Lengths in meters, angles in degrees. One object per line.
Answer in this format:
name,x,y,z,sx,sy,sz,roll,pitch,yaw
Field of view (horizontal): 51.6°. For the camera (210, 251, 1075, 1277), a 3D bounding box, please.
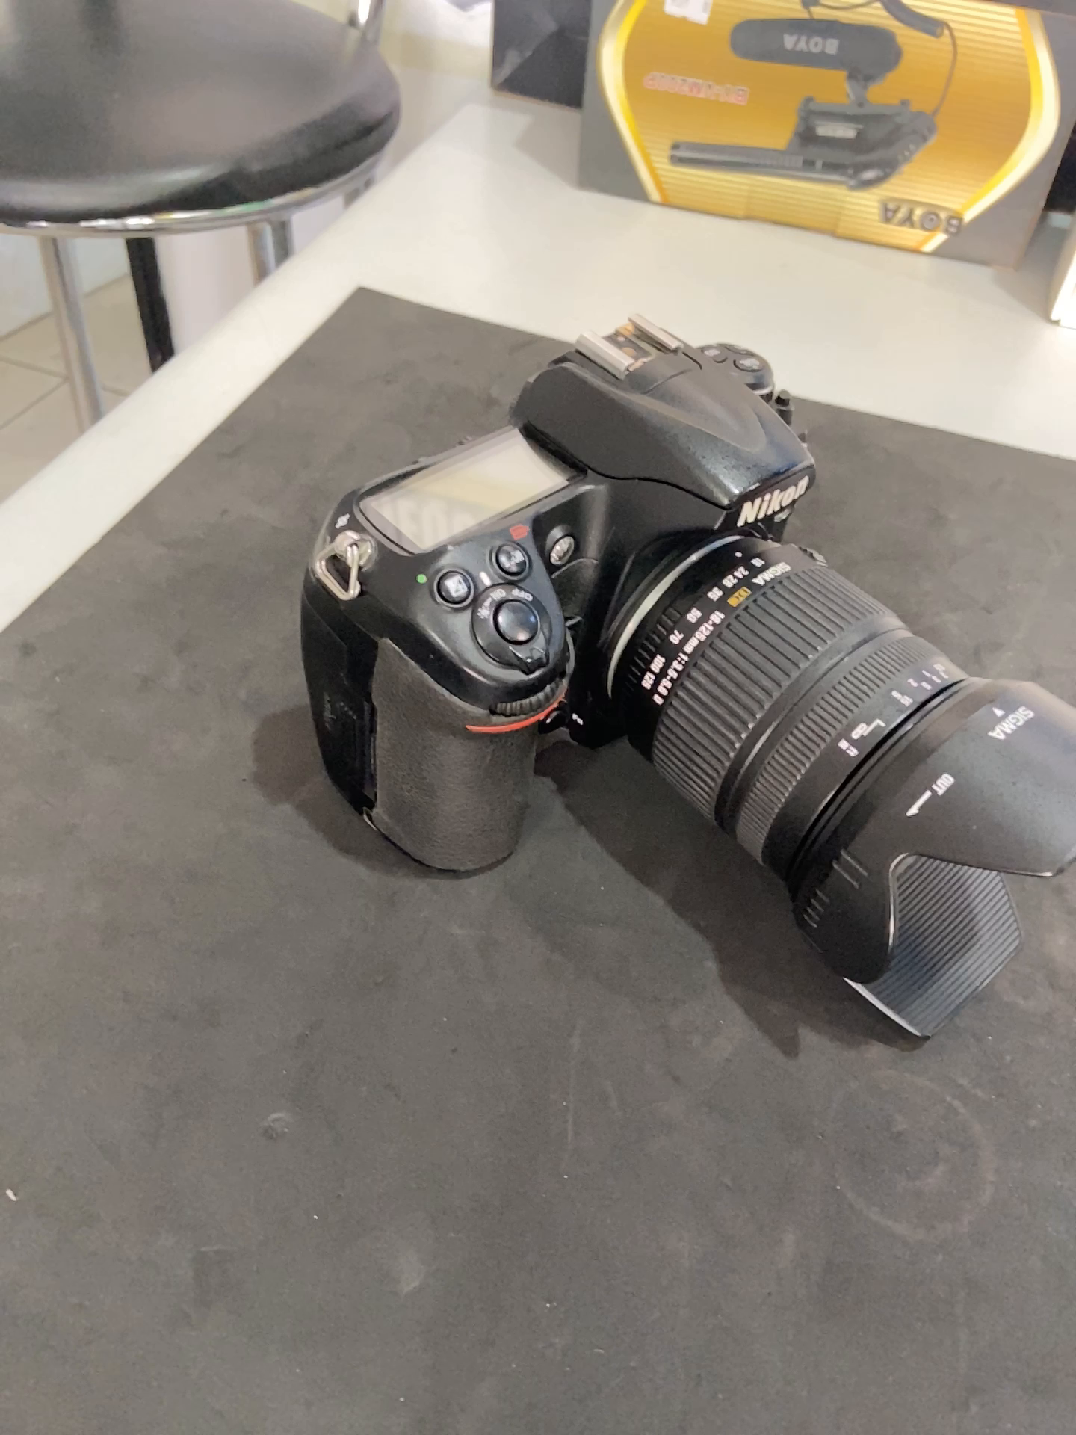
camera,0.047,-0.010,0.279,0.171,0.109,0.180,-29,54,-28
